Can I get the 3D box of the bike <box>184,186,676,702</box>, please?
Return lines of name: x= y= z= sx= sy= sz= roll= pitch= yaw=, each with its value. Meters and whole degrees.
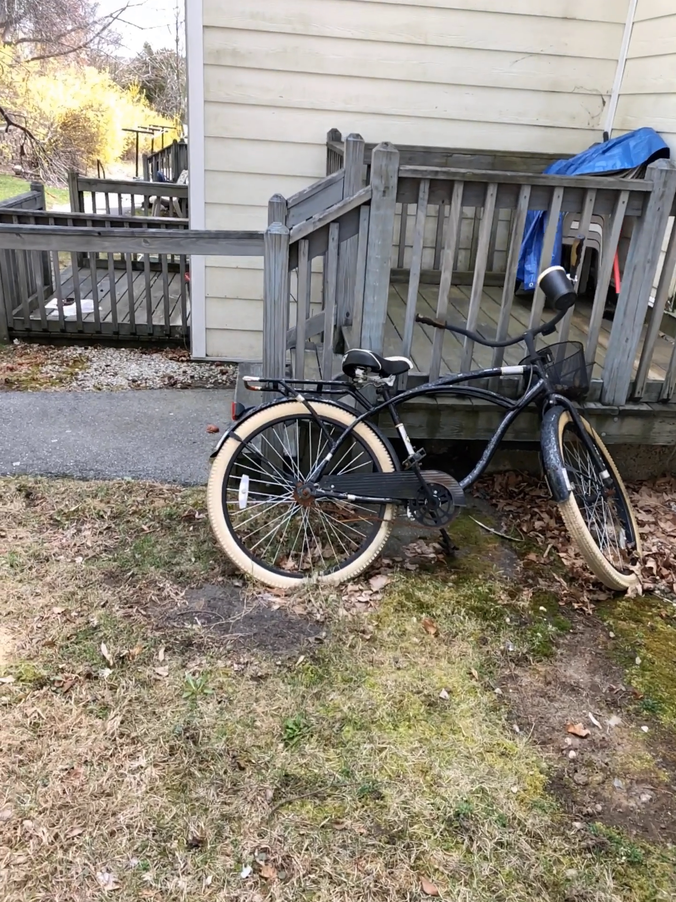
bike: x=0.479 y=-0.113 z=2.505 sx=1.610 sy=1.314 sz=0.942 roll=-7 pitch=26 yaw=-16
